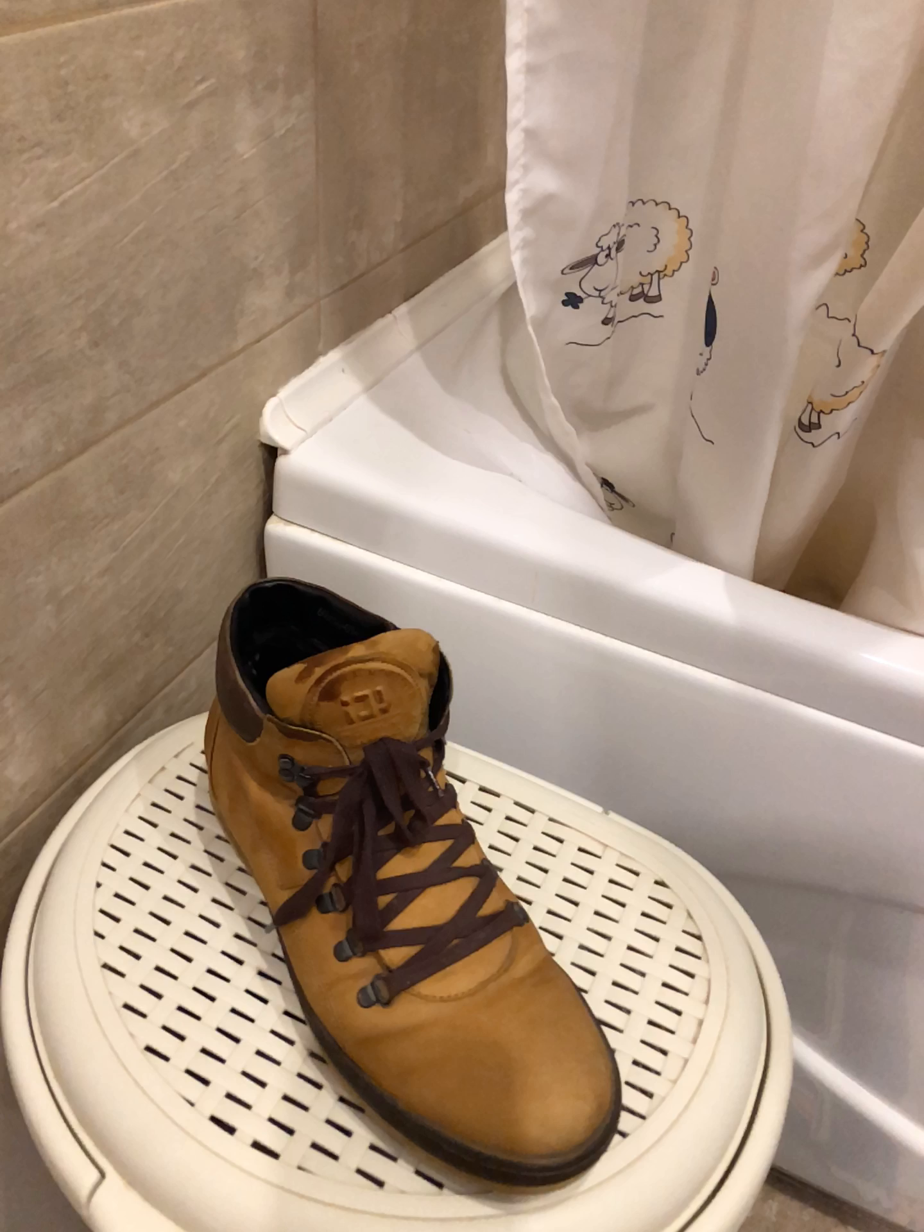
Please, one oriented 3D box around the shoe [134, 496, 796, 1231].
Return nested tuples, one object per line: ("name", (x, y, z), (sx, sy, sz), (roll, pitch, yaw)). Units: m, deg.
("shoe", (-0.024, 0.104, 0.446), (0.110, 0.169, 0.291), (-22, 47, -28))
